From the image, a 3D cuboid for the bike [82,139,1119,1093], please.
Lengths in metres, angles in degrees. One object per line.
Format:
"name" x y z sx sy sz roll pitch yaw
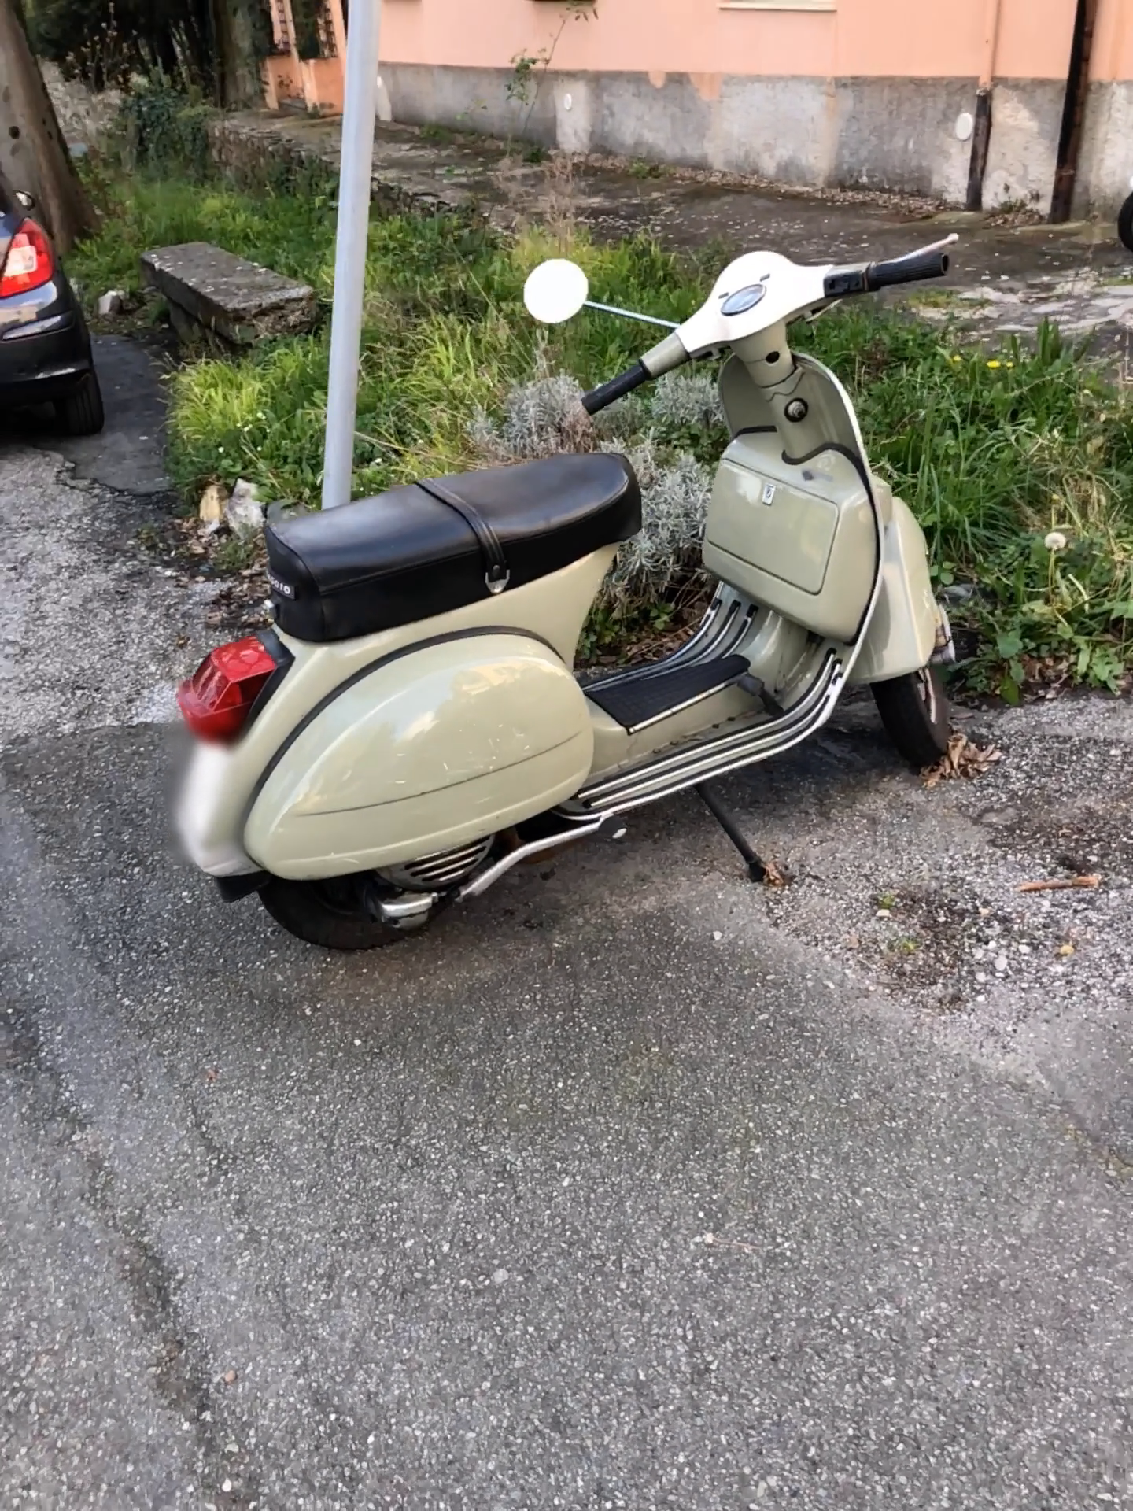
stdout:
"bike" 0.096 -0.328 2.118 1.443 1.028 0.623 -22 37 -23
